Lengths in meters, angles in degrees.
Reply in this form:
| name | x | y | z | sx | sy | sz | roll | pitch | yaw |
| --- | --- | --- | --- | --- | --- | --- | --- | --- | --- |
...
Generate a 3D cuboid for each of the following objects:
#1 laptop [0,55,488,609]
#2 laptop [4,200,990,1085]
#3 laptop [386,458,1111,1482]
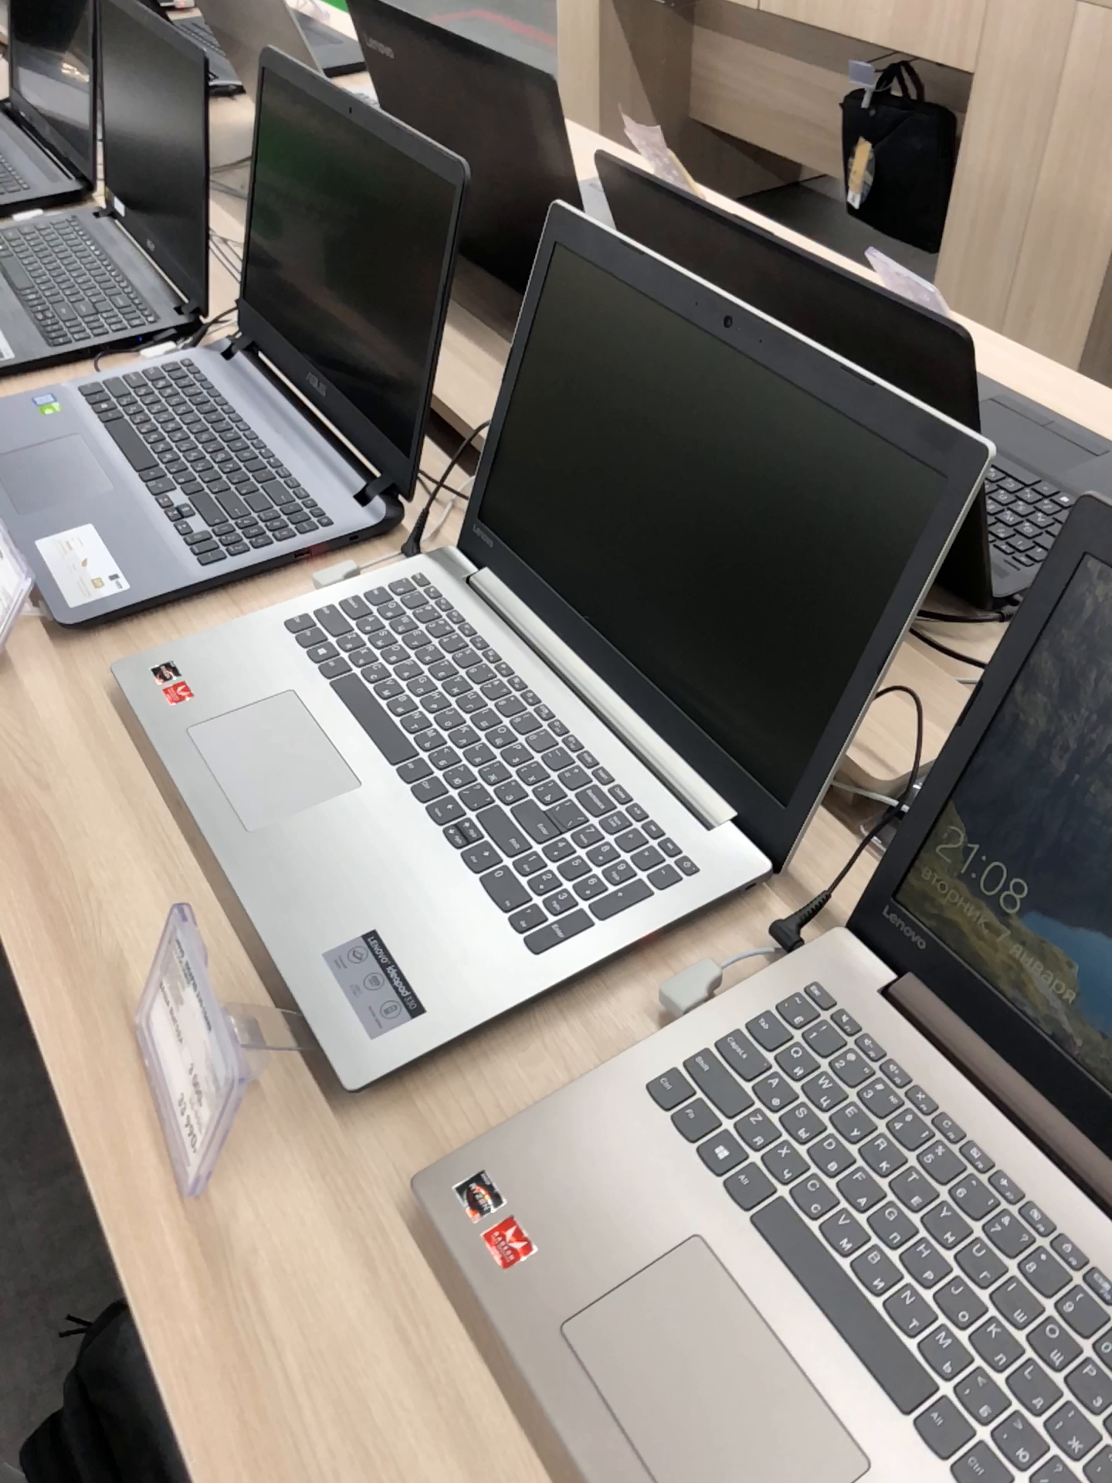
| name | x | y | z | sx | sy | sz | roll | pitch | yaw |
| --- | --- | --- | --- | --- | --- | --- | --- | --- | --- |
| laptop | -0.283 | -0.322 | 0.908 | 0.319 | 0.232 | 0.328 | -22 | 46 | -21 |
| laptop | -0.048 | -0.091 | 0.660 | 0.335 | 0.220 | 0.367 | -24 | 47 | -22 |
| laptop | 0.169 | 0.143 | 0.391 | 0.327 | 0.222 | 0.358 | -25 | 48 | -23 |
